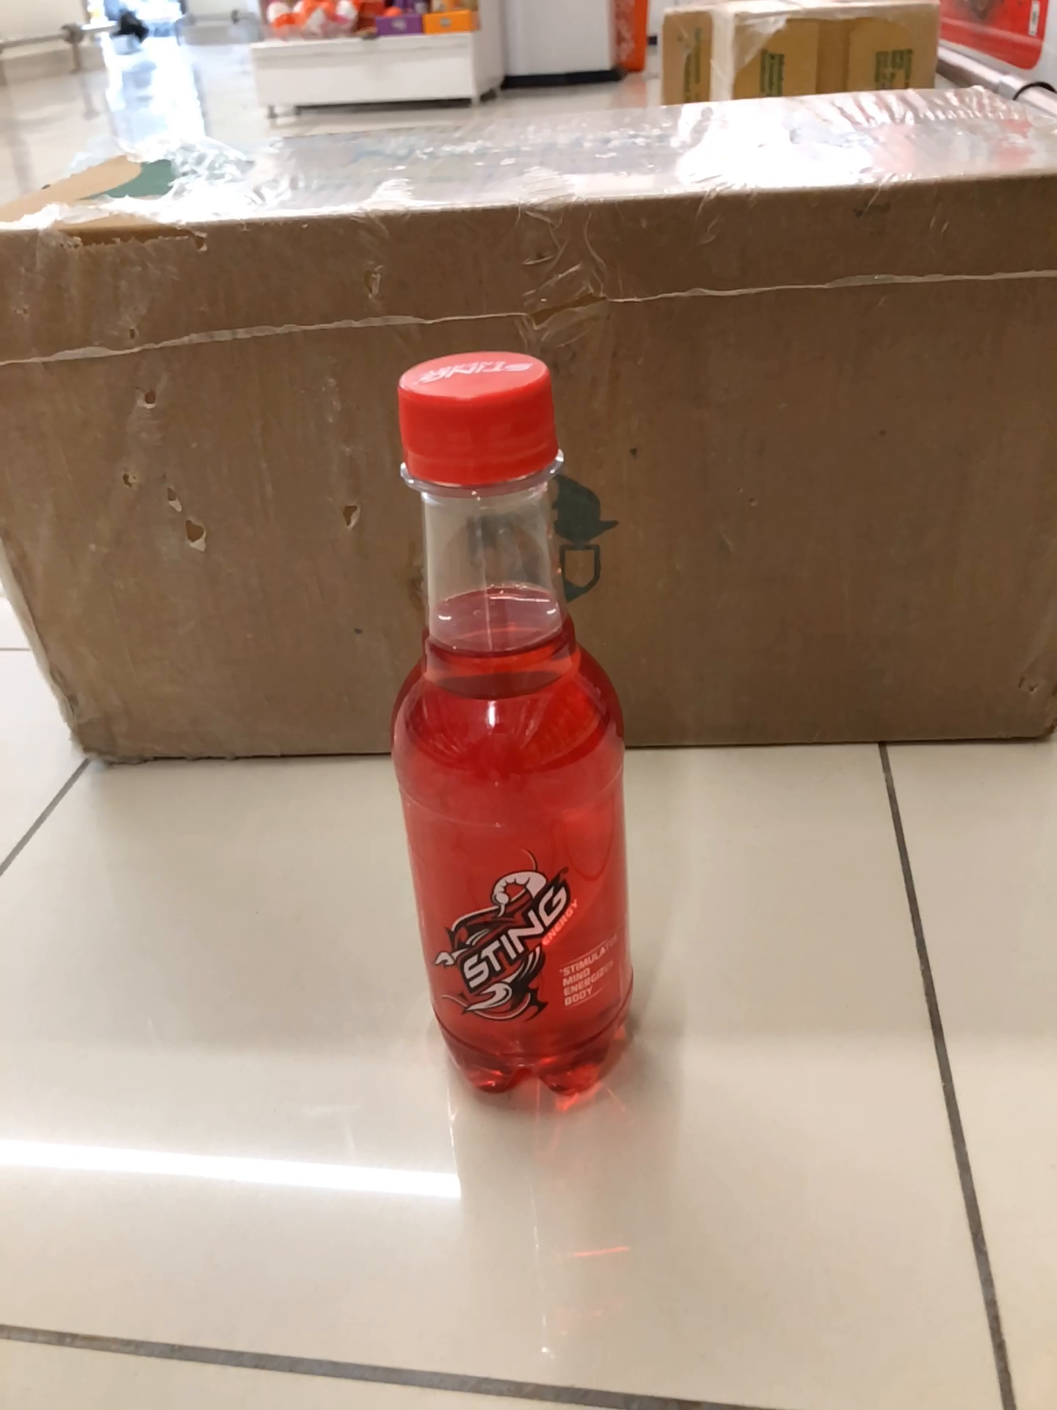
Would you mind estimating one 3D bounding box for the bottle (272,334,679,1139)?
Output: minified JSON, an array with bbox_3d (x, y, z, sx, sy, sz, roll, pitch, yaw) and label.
[{"bbox_3d":[-0.001,0.012,0.281,0.070,0.179,0.070,-3,31,2],"label":"bottle"}]
